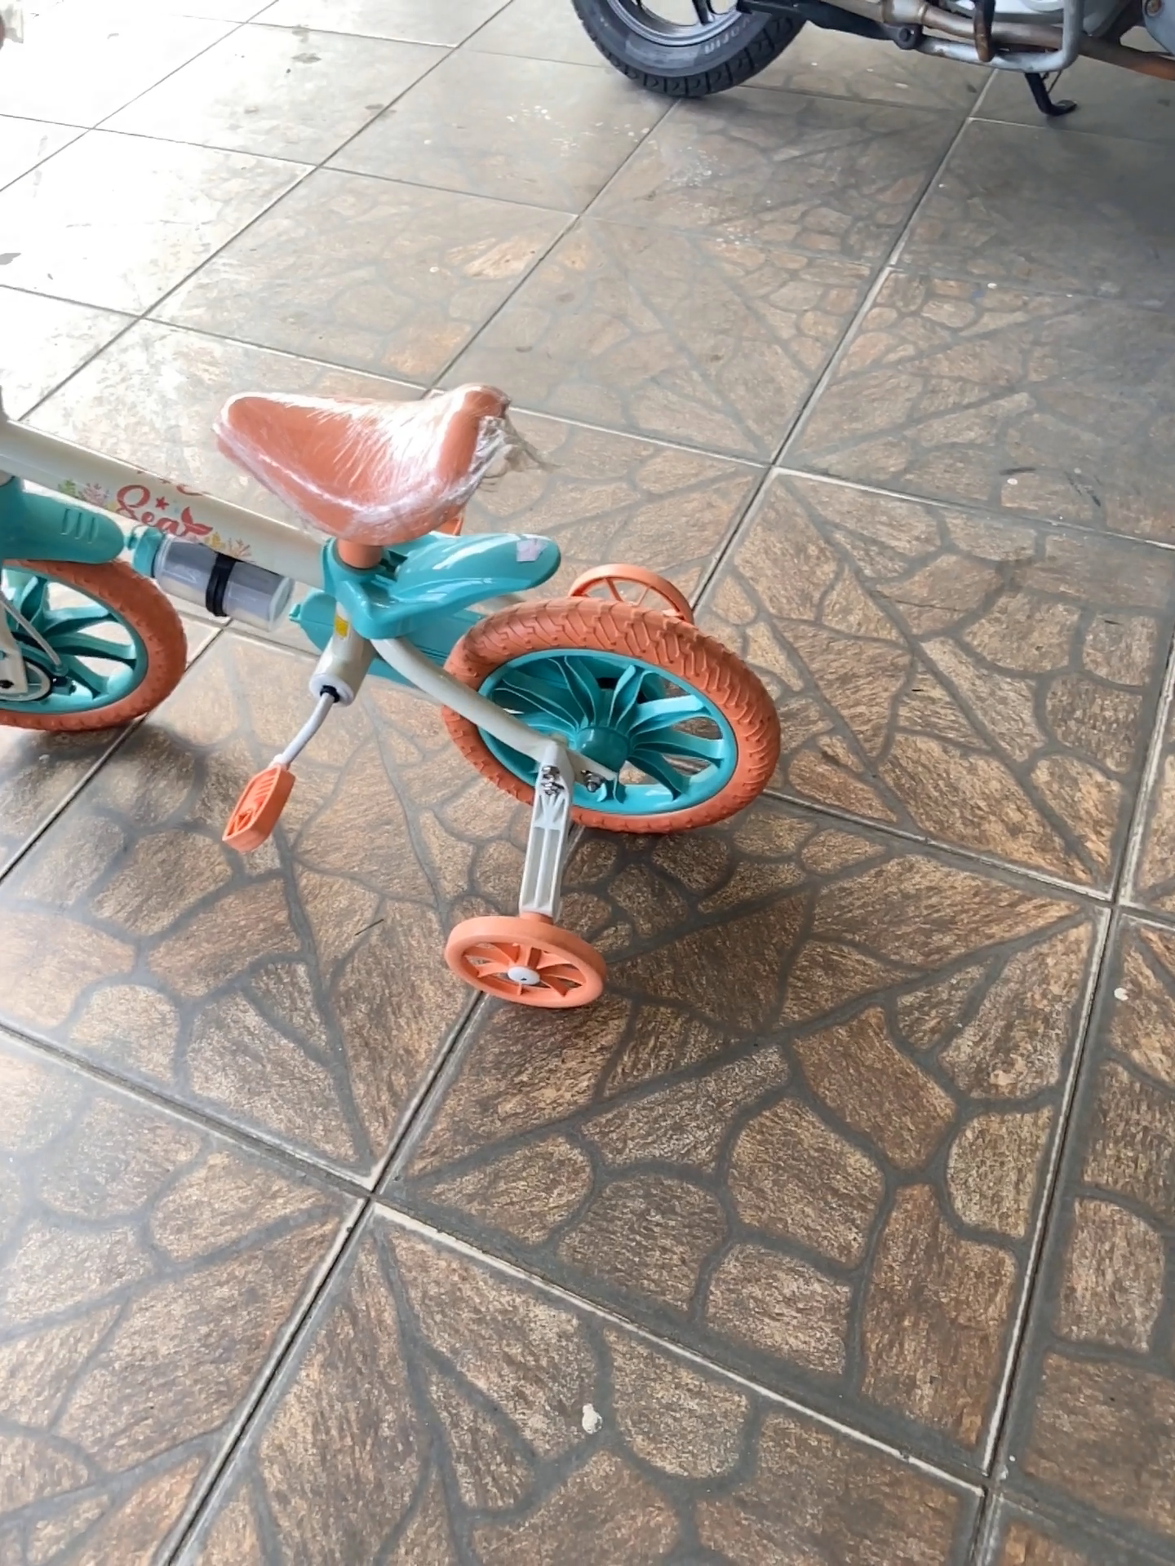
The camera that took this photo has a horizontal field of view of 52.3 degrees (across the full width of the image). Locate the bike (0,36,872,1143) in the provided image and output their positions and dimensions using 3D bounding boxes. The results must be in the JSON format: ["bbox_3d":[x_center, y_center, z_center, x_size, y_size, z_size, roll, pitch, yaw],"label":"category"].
[{"bbox_3d":[-0.262,-0.134,0.882,0.806,0.534,0.500,8,53,7],"label":"bike"}]
